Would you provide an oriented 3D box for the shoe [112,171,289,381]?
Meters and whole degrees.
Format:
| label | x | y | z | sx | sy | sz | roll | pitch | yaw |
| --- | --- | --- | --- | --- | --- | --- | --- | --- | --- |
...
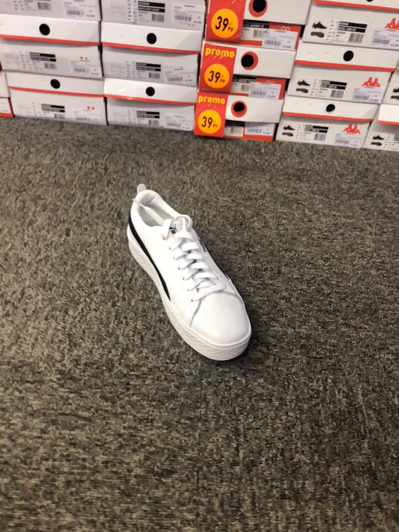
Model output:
| label | x | y | z | sx | sy | sz | roll | pitch | yaw |
| --- | --- | --- | --- | --- | --- | --- | --- | --- | --- |
| shoe | -0.016 | -0.004 | 0.608 | 0.110 | 0.089 | 0.291 | -18 | 51 | -22 |
